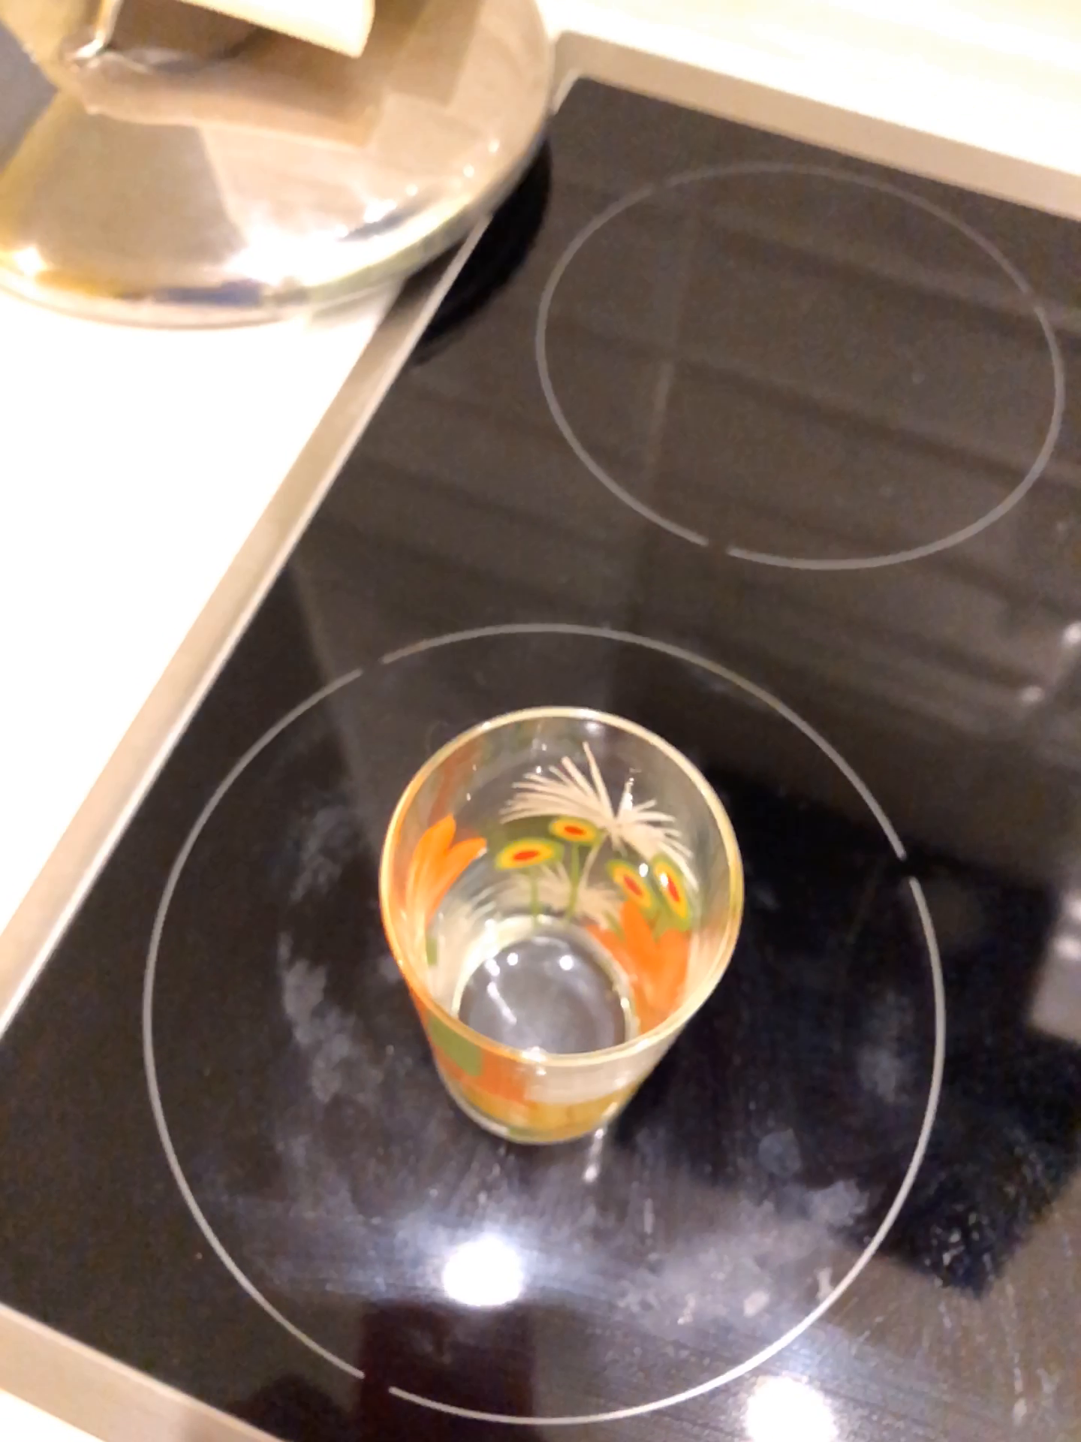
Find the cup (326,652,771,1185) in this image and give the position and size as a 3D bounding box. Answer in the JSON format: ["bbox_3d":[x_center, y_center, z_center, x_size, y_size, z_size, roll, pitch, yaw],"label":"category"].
[{"bbox_3d":[0.002,0.053,0.267,0.062,0.139,0.067,1,64,-1],"label":"cup"}]
